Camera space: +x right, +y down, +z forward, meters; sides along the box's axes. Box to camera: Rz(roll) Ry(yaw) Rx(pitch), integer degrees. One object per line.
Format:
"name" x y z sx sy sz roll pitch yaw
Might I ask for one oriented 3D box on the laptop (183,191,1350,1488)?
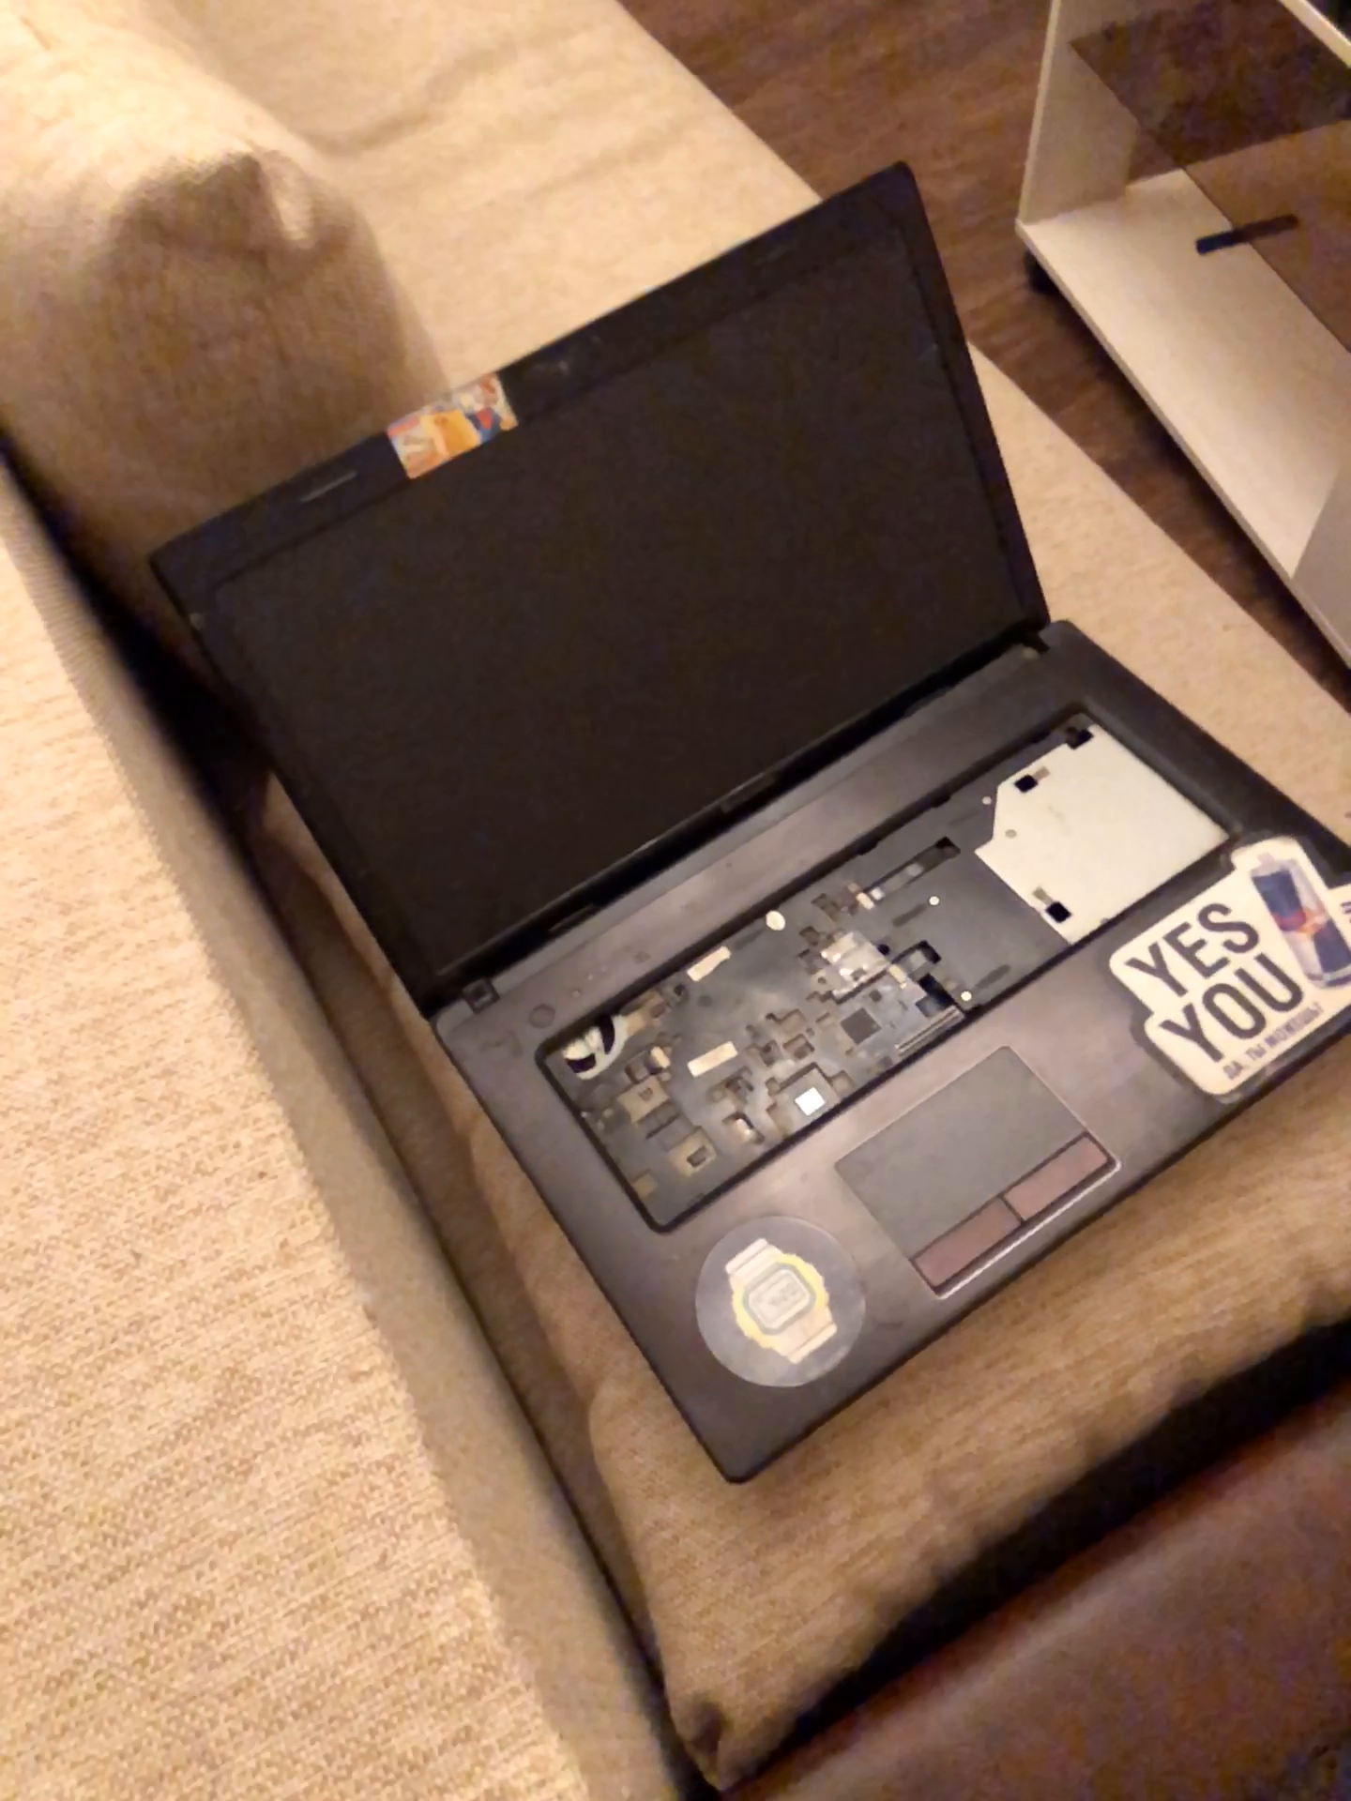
"laptop" 0.075 -0.055 0.671 0.412 0.198 0.409 -32 60 -13
